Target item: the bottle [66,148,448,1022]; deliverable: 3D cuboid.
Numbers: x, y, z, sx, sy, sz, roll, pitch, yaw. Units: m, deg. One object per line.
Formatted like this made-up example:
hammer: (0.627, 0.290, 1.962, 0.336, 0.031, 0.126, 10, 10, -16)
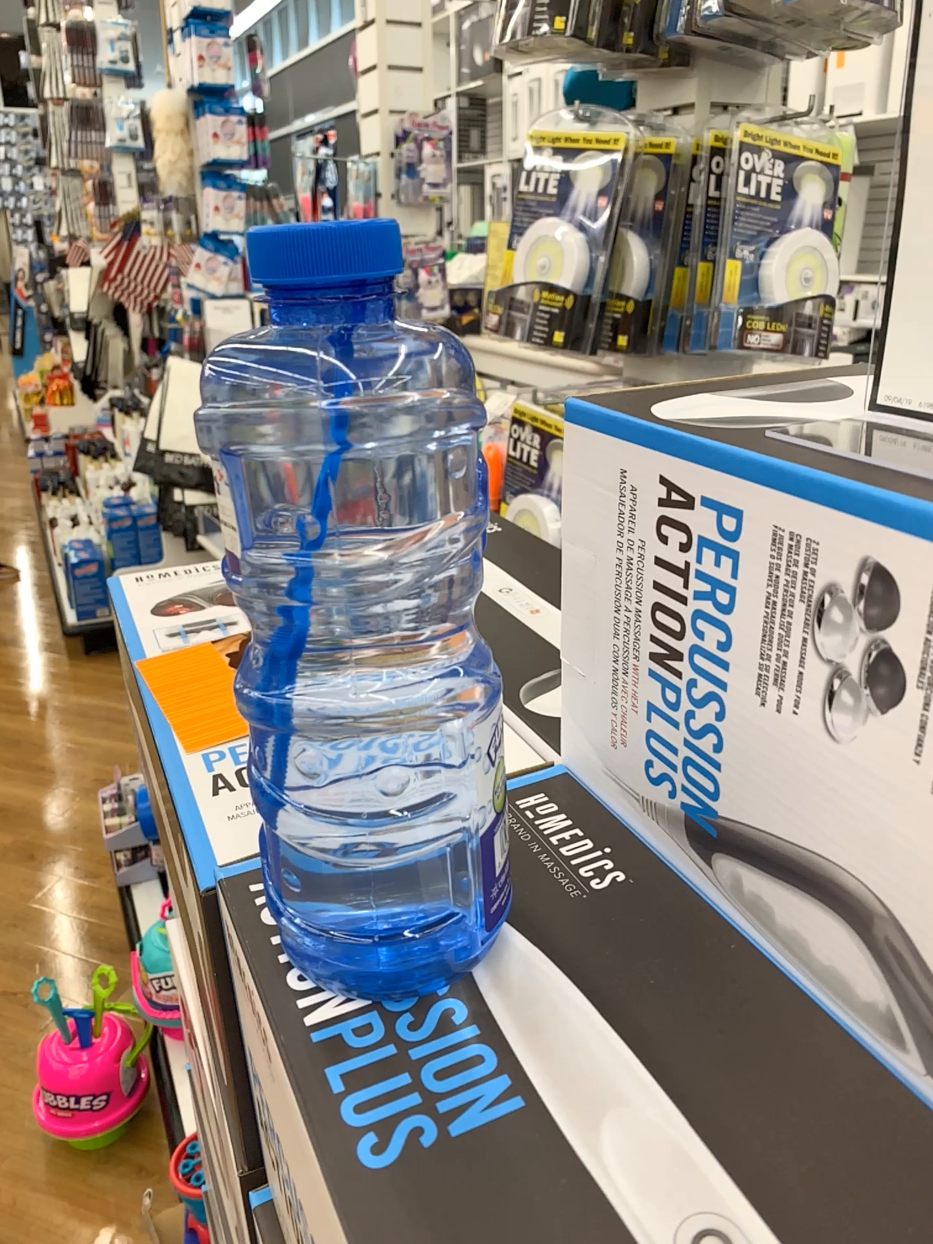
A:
bottle: (-0.049, -0.005, 0.292, 0.081, 0.243, 0.081, 0, 22, 0)
